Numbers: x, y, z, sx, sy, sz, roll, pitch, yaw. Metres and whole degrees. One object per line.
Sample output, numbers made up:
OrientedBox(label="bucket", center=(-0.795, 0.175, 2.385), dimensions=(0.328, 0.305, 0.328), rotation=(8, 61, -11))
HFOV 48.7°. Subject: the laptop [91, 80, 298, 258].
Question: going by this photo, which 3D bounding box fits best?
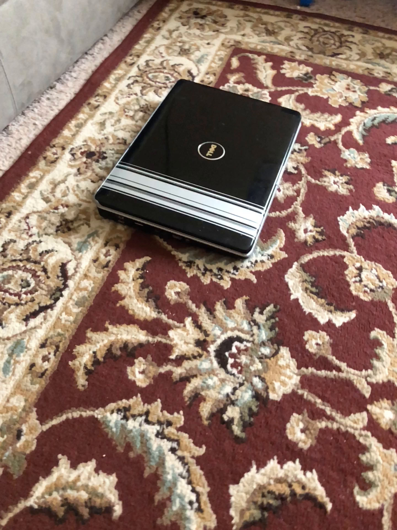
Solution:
OrientedBox(label="laptop", center=(0.014, -0.185, 0.745), dimensions=(0.242, 0.015, 0.351), rotation=(20, 55, 7))
